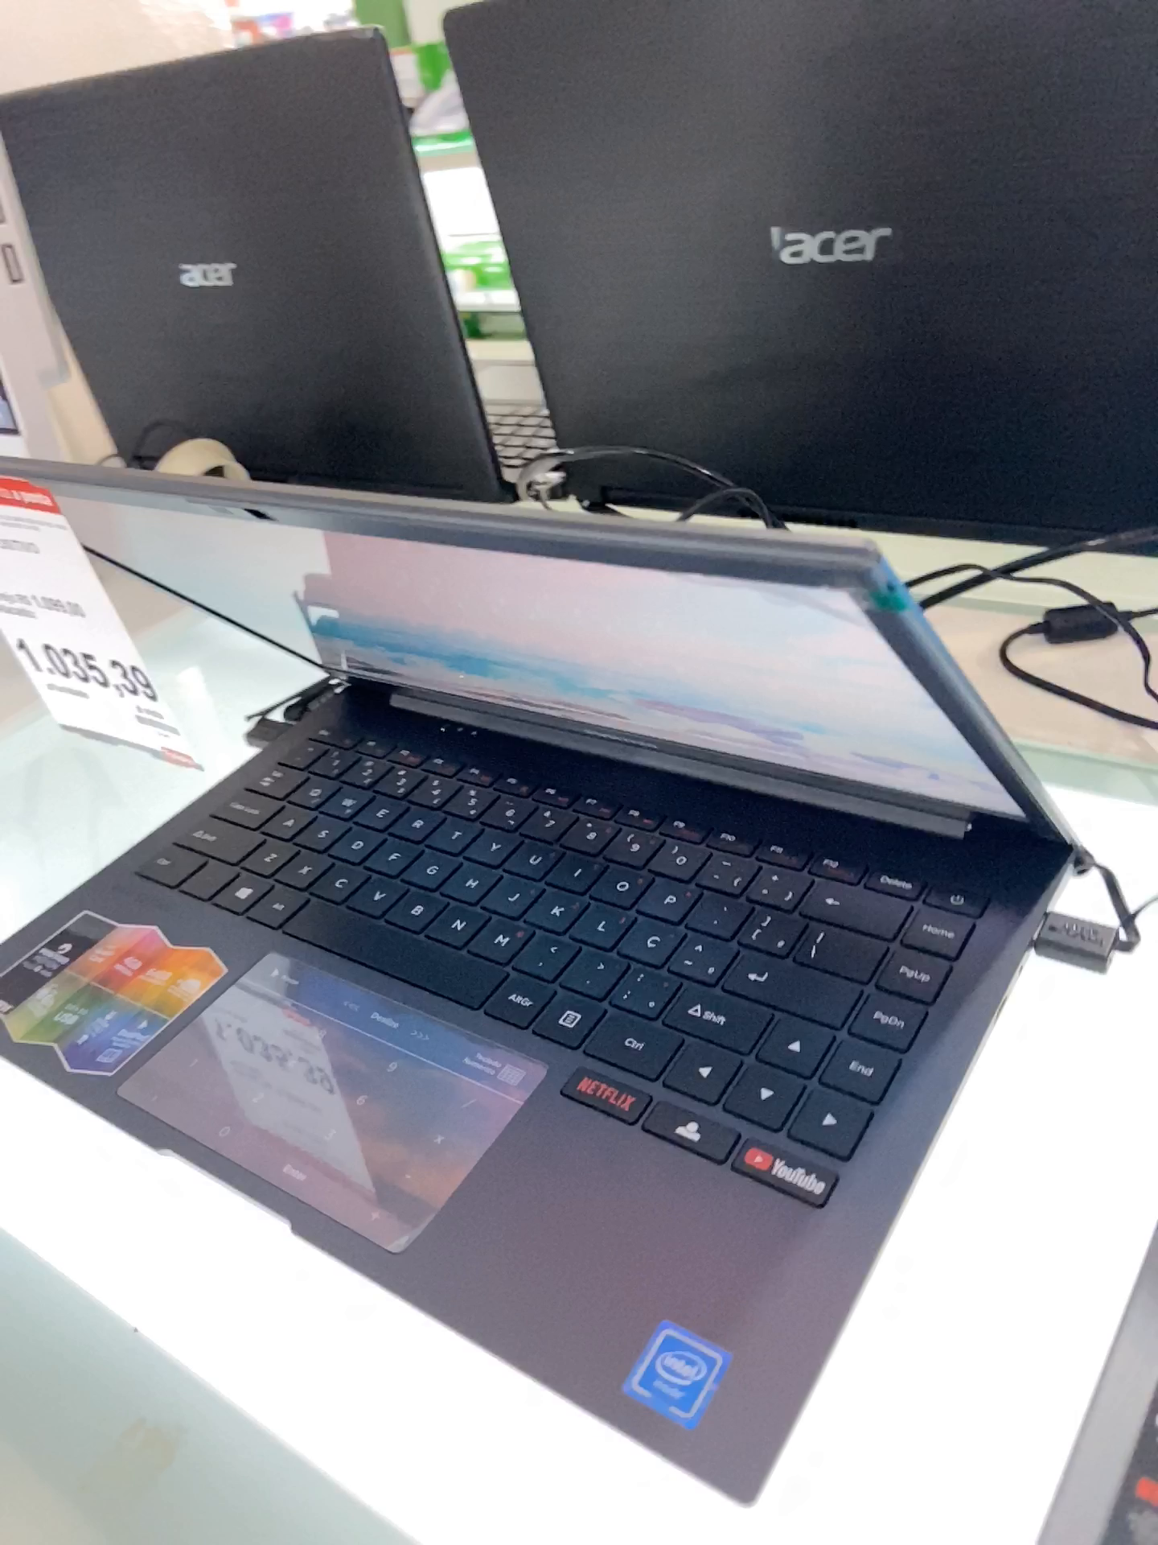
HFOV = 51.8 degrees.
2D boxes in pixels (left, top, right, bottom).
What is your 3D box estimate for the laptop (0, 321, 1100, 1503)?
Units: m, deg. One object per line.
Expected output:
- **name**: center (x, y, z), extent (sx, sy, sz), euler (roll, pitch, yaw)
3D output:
- **laptop**: center (-0.053, -0.014, 0.363), extent (0.334, 0.163, 0.223), euler (14, 42, 34)
